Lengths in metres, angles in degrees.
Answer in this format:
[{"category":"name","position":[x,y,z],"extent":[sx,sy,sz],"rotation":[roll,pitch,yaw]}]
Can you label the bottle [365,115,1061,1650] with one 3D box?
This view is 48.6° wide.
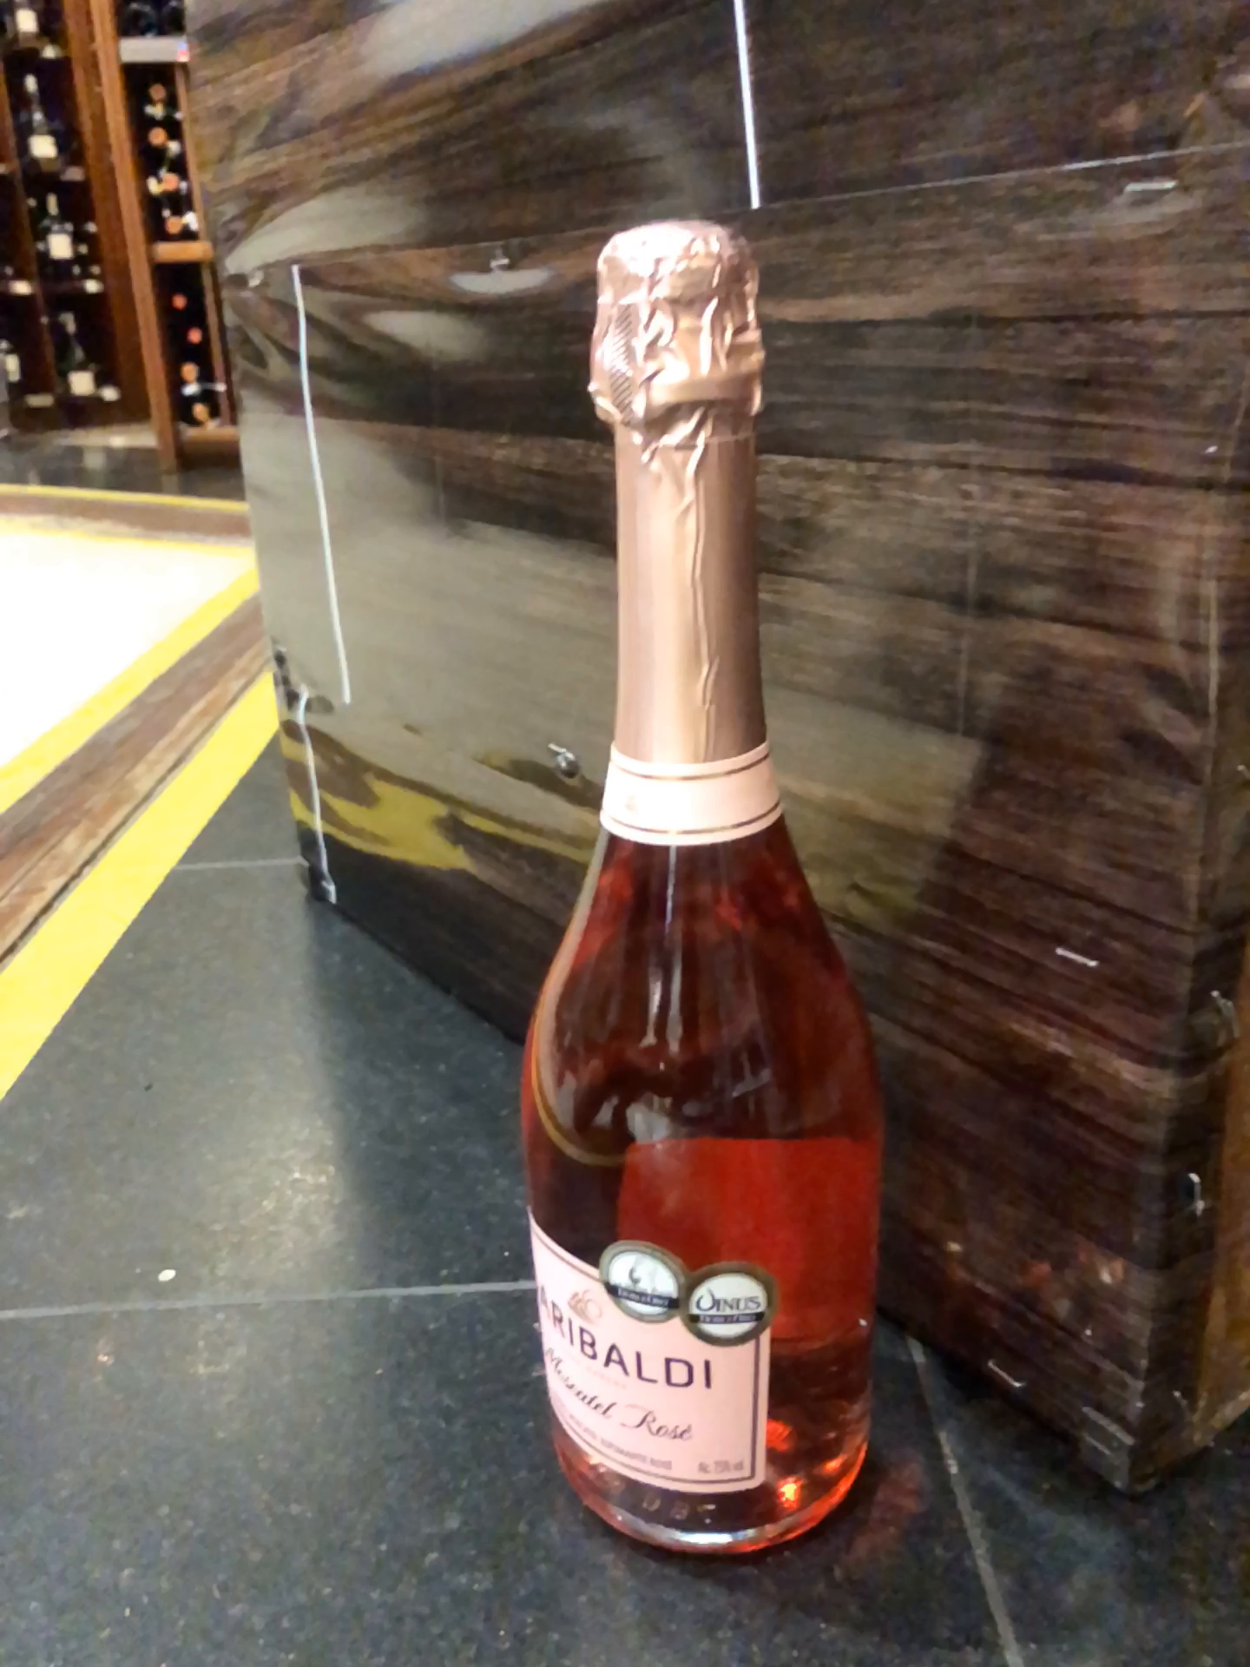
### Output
[{"category":"bottle","position":[0.025,0.015,0.353],"extent":[0.100,0.338,0.110],"rotation":[-2,20,1]}]
